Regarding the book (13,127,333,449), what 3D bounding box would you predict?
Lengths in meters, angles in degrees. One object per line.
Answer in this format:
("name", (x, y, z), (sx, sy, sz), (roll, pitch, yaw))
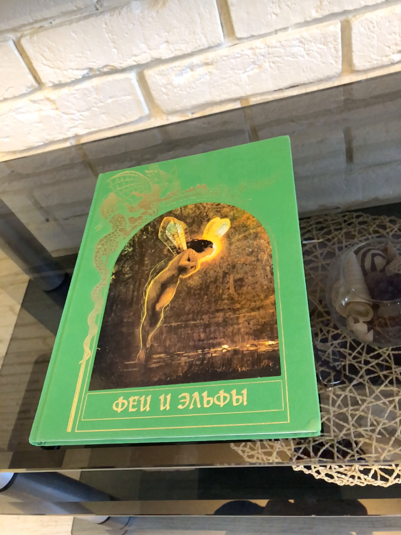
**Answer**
("book", (-0.016, 0.000, 0.384), (0.217, 0.030, 0.292), (-7, 51, 15))
